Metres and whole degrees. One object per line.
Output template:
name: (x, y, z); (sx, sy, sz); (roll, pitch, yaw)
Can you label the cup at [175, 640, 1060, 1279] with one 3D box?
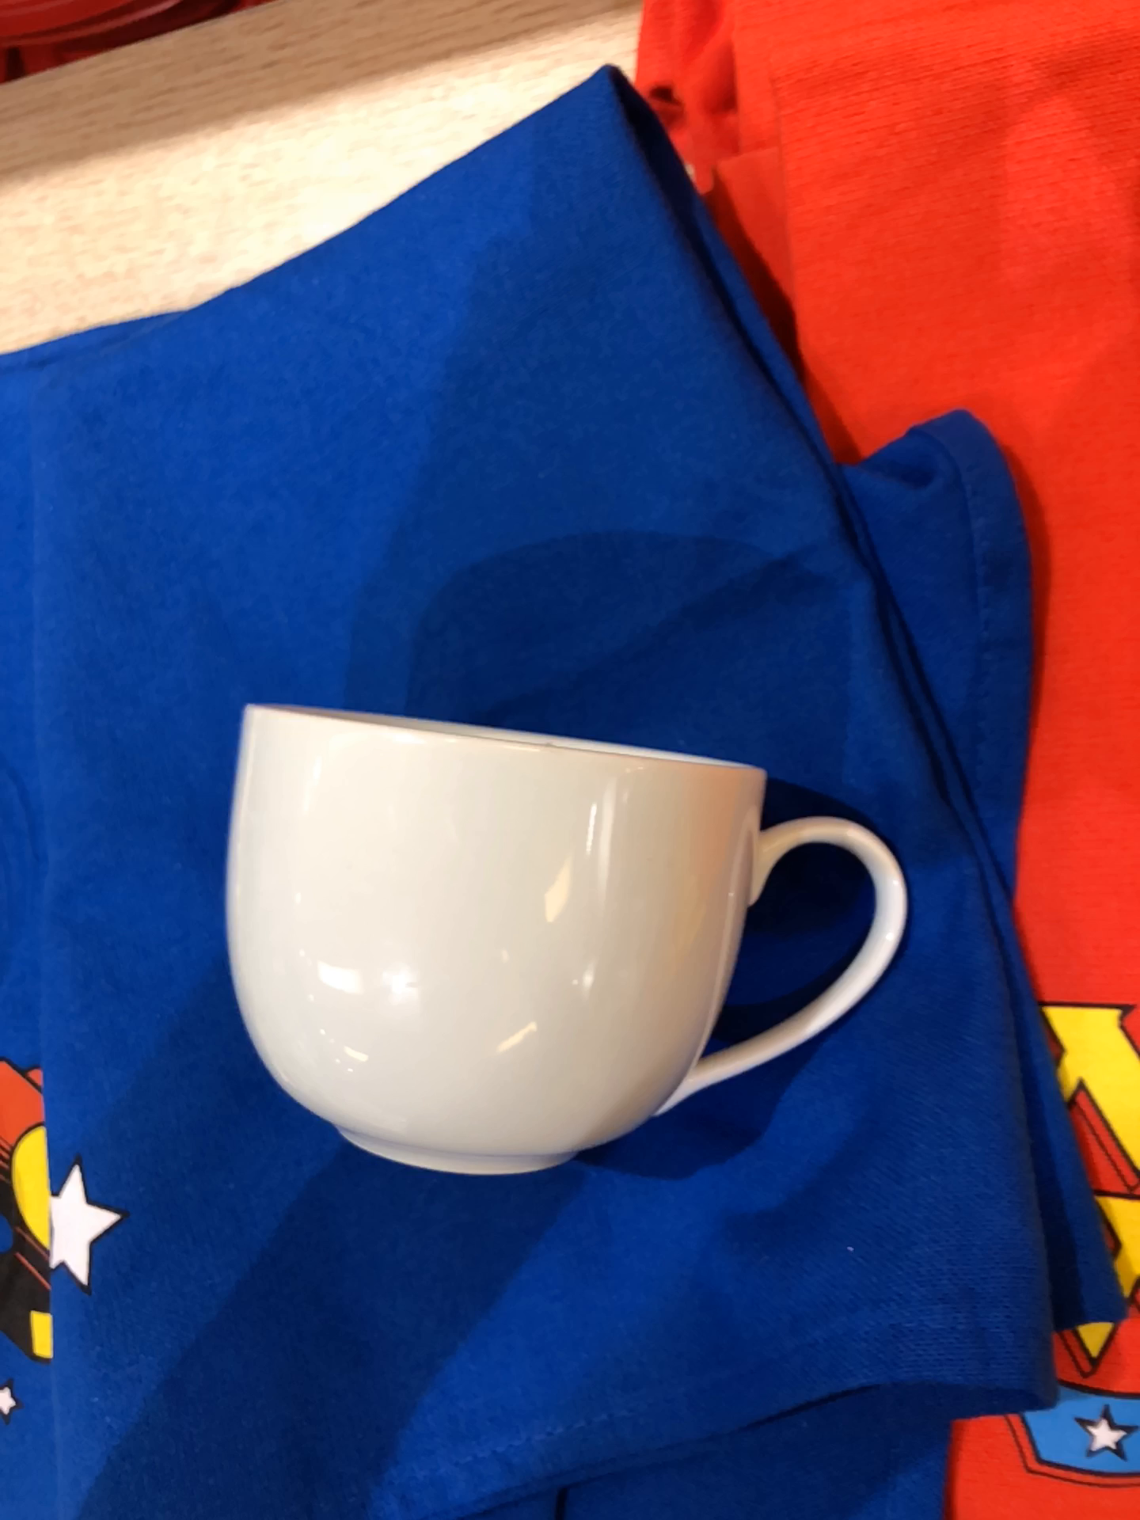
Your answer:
cup: (0.002, 0.032, 0.236); (0.130, 0.080, 0.090); (7, 94, -14)
